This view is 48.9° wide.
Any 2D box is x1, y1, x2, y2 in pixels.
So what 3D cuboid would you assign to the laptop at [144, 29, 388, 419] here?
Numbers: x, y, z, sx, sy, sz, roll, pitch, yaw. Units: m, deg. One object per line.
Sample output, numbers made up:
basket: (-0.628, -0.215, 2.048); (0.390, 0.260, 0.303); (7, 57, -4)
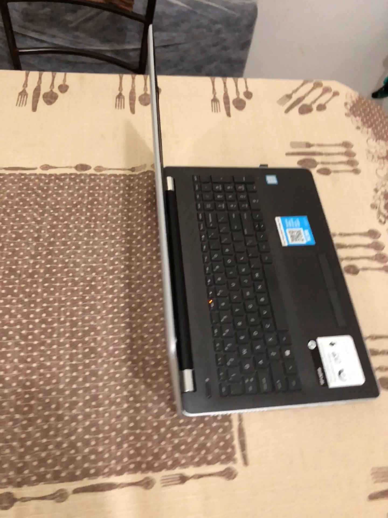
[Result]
laptop: (0.088, -0.042, 0.485); (0.267, 0.226, 0.361); (-2, 59, -9)
